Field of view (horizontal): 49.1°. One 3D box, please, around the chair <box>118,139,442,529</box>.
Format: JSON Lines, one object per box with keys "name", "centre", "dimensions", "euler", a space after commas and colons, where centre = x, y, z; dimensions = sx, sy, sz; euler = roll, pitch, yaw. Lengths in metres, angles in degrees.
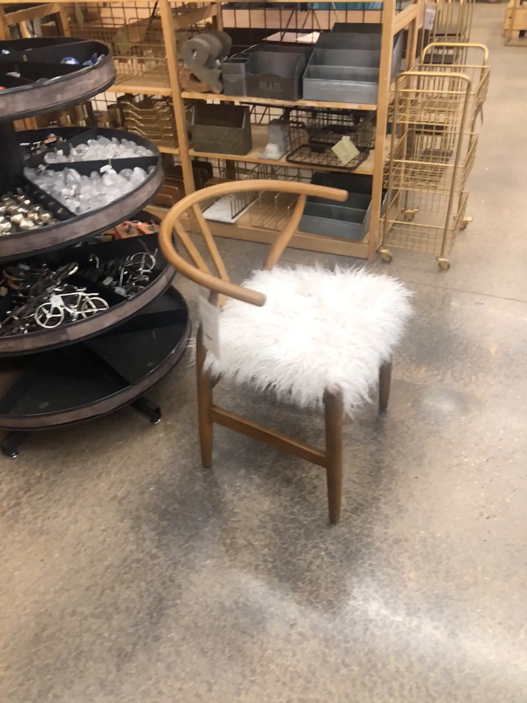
{"name": "chair", "centre": [0.080, -0.068, 1.516], "dimensions": [0.529, 0.731, 0.560], "euler": [16, 43, 23]}
